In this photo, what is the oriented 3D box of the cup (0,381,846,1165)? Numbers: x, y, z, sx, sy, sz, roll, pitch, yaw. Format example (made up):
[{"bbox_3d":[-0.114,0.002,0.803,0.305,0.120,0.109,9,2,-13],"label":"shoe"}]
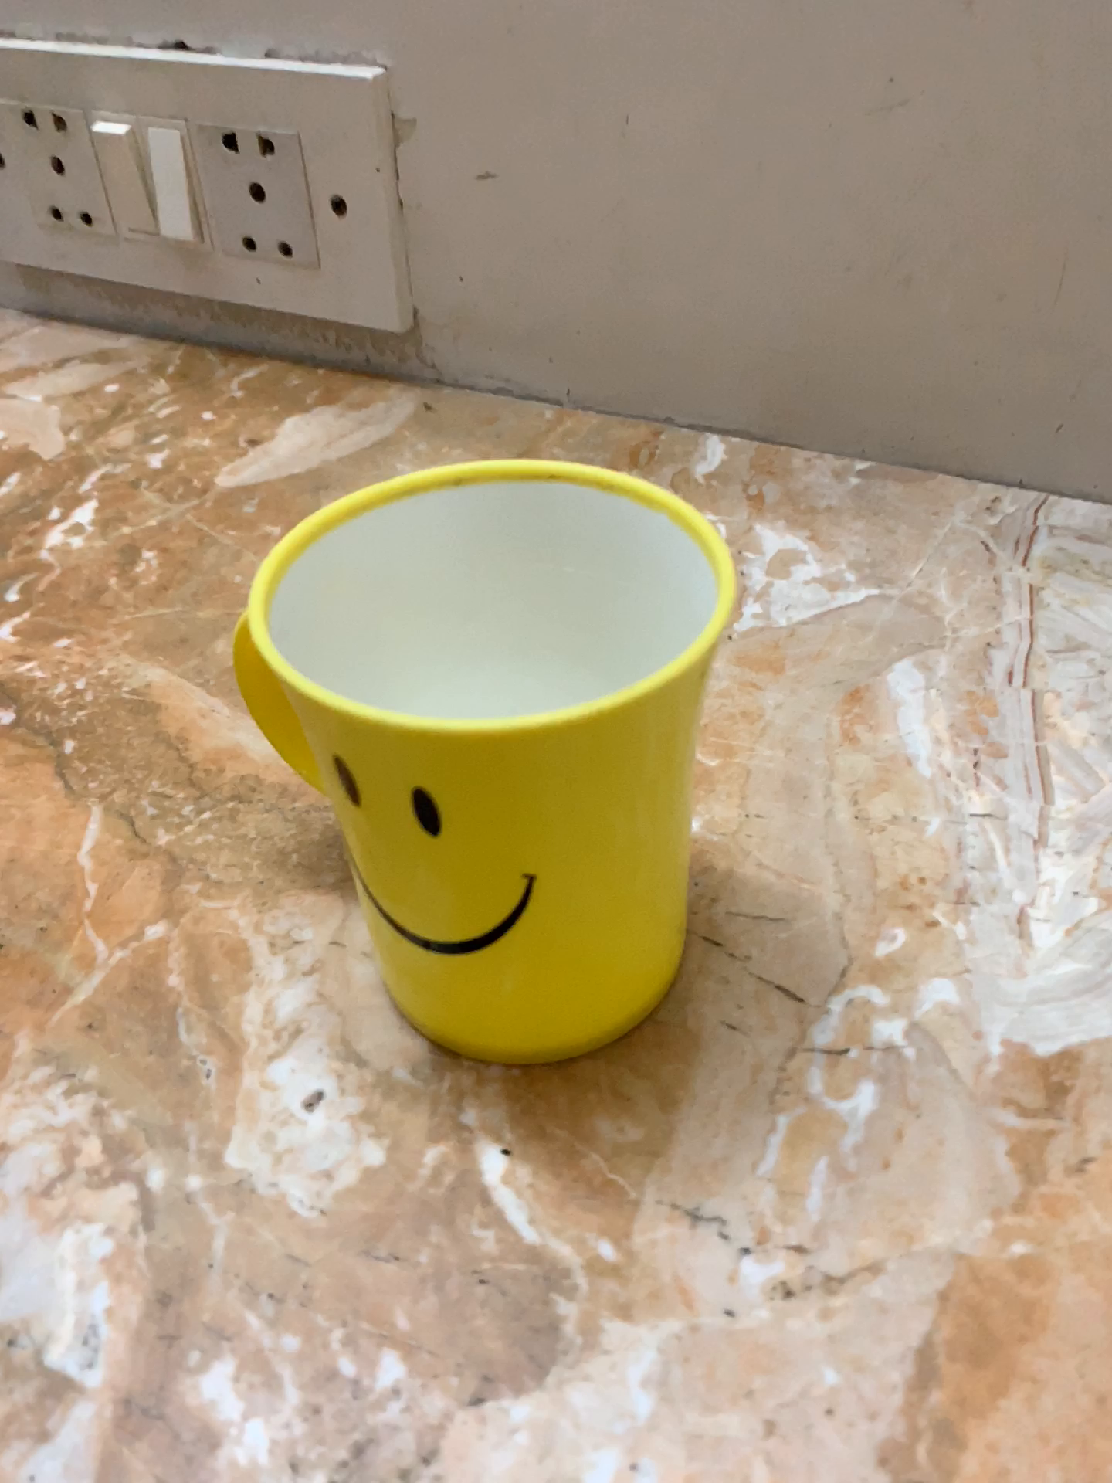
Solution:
[{"bbox_3d":[-0.017,0.001,0.204,0.110,0.089,0.070,15,44,21],"label":"cup"}]
